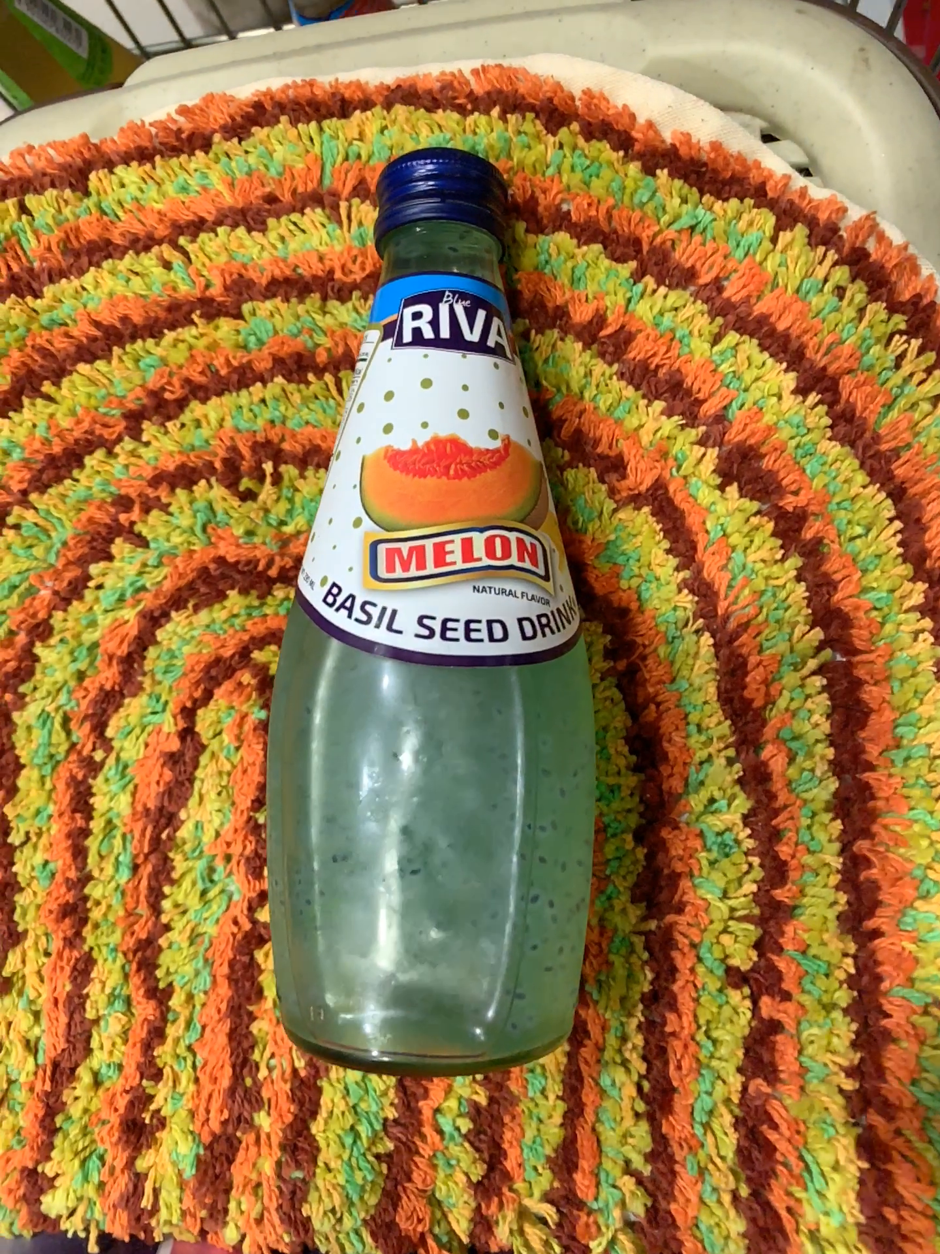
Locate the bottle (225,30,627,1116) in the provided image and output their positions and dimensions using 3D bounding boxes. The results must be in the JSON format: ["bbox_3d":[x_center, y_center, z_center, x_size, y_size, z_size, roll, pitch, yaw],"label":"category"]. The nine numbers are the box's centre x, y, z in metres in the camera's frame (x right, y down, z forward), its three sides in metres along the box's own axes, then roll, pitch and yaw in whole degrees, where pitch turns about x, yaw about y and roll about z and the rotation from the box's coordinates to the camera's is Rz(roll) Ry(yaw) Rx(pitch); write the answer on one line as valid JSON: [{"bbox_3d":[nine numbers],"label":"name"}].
[{"bbox_3d":[-0.009,-0.010,0.193,0.060,0.060,0.180,3,82,-8],"label":"bottle"}]
